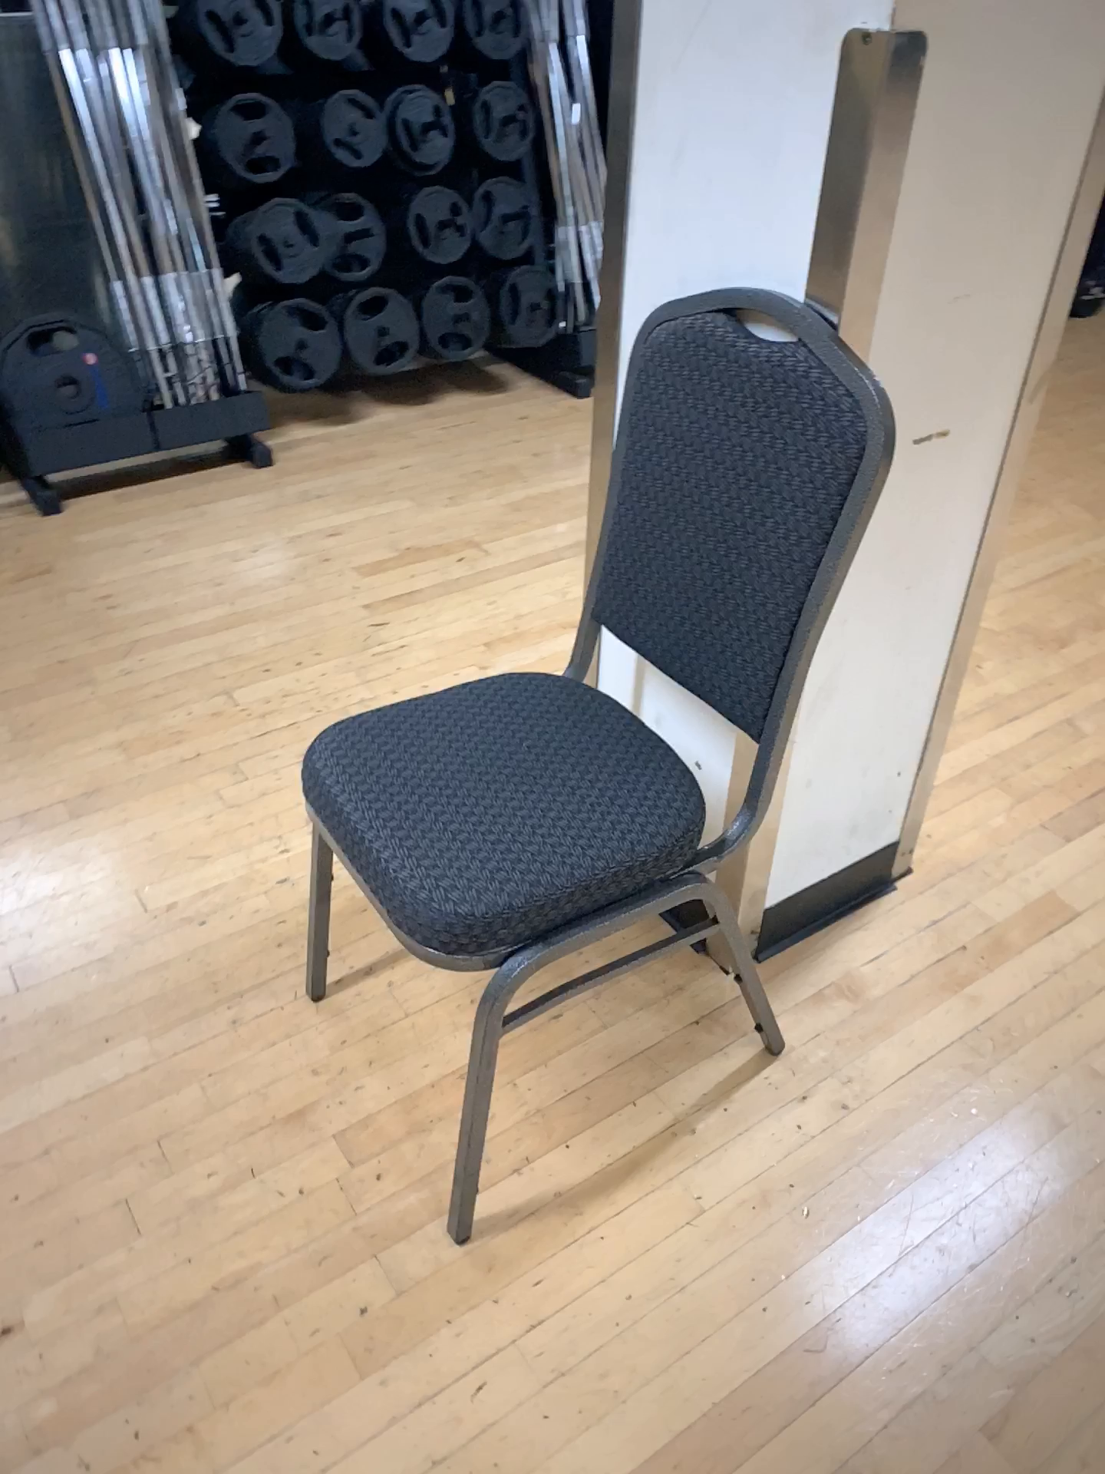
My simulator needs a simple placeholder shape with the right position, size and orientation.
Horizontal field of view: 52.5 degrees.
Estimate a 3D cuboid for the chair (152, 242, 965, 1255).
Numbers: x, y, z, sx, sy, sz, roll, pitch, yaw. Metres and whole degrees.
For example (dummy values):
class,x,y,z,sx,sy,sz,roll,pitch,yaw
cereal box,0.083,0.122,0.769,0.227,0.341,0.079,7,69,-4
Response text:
class,x,y,z,sx,sy,sz,roll,pitch,yaw
chair,-0.017,0.004,1.266,0.565,0.908,0.466,-20,41,-27
